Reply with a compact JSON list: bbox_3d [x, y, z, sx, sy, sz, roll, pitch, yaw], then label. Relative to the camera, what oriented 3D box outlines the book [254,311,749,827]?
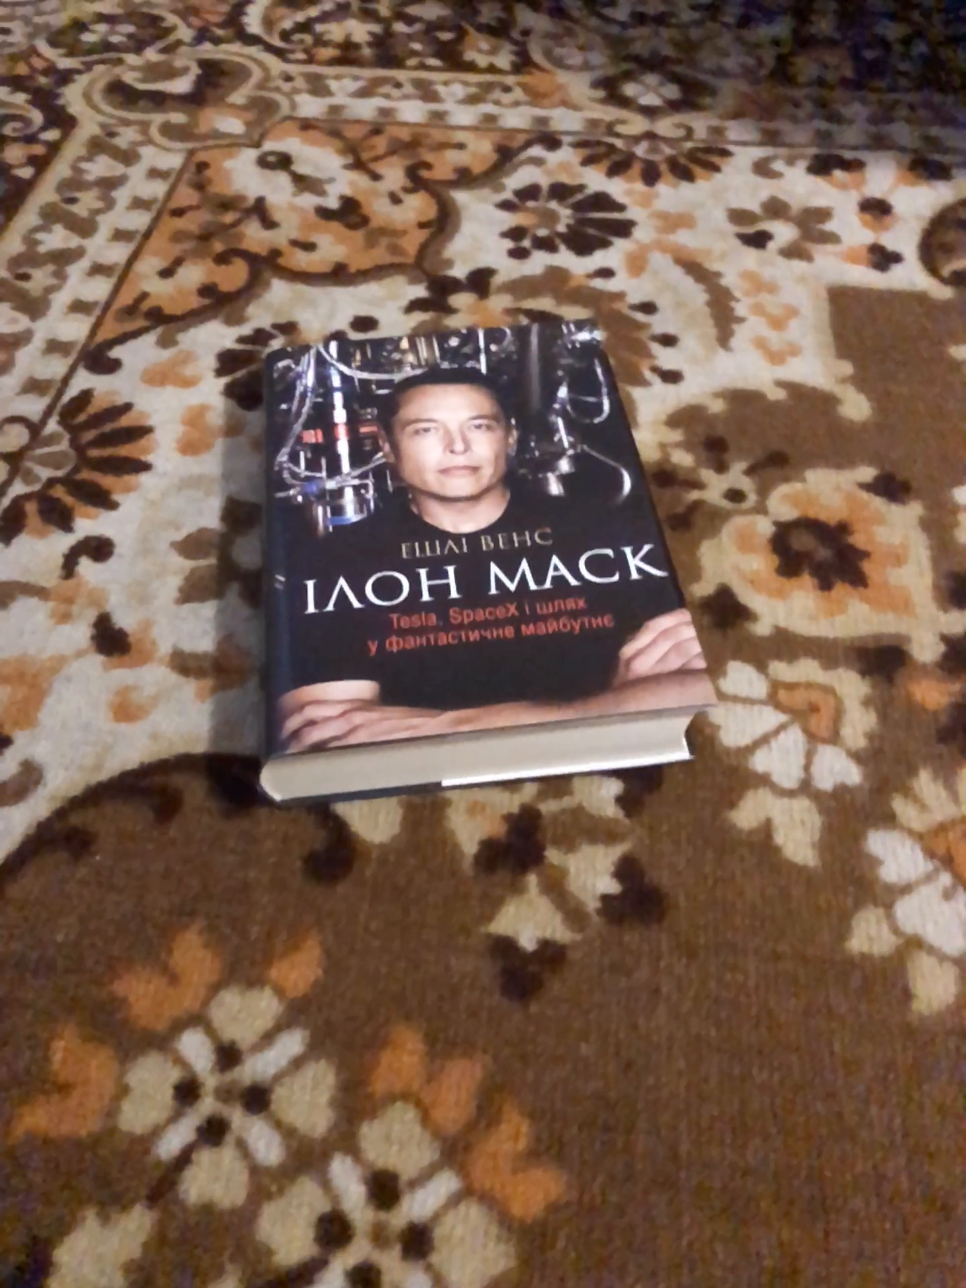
[{"bbox_3d":[-0.008,-0.050,0.491,0.184,0.050,0.251,-6,53,-5],"label":"book"}]
